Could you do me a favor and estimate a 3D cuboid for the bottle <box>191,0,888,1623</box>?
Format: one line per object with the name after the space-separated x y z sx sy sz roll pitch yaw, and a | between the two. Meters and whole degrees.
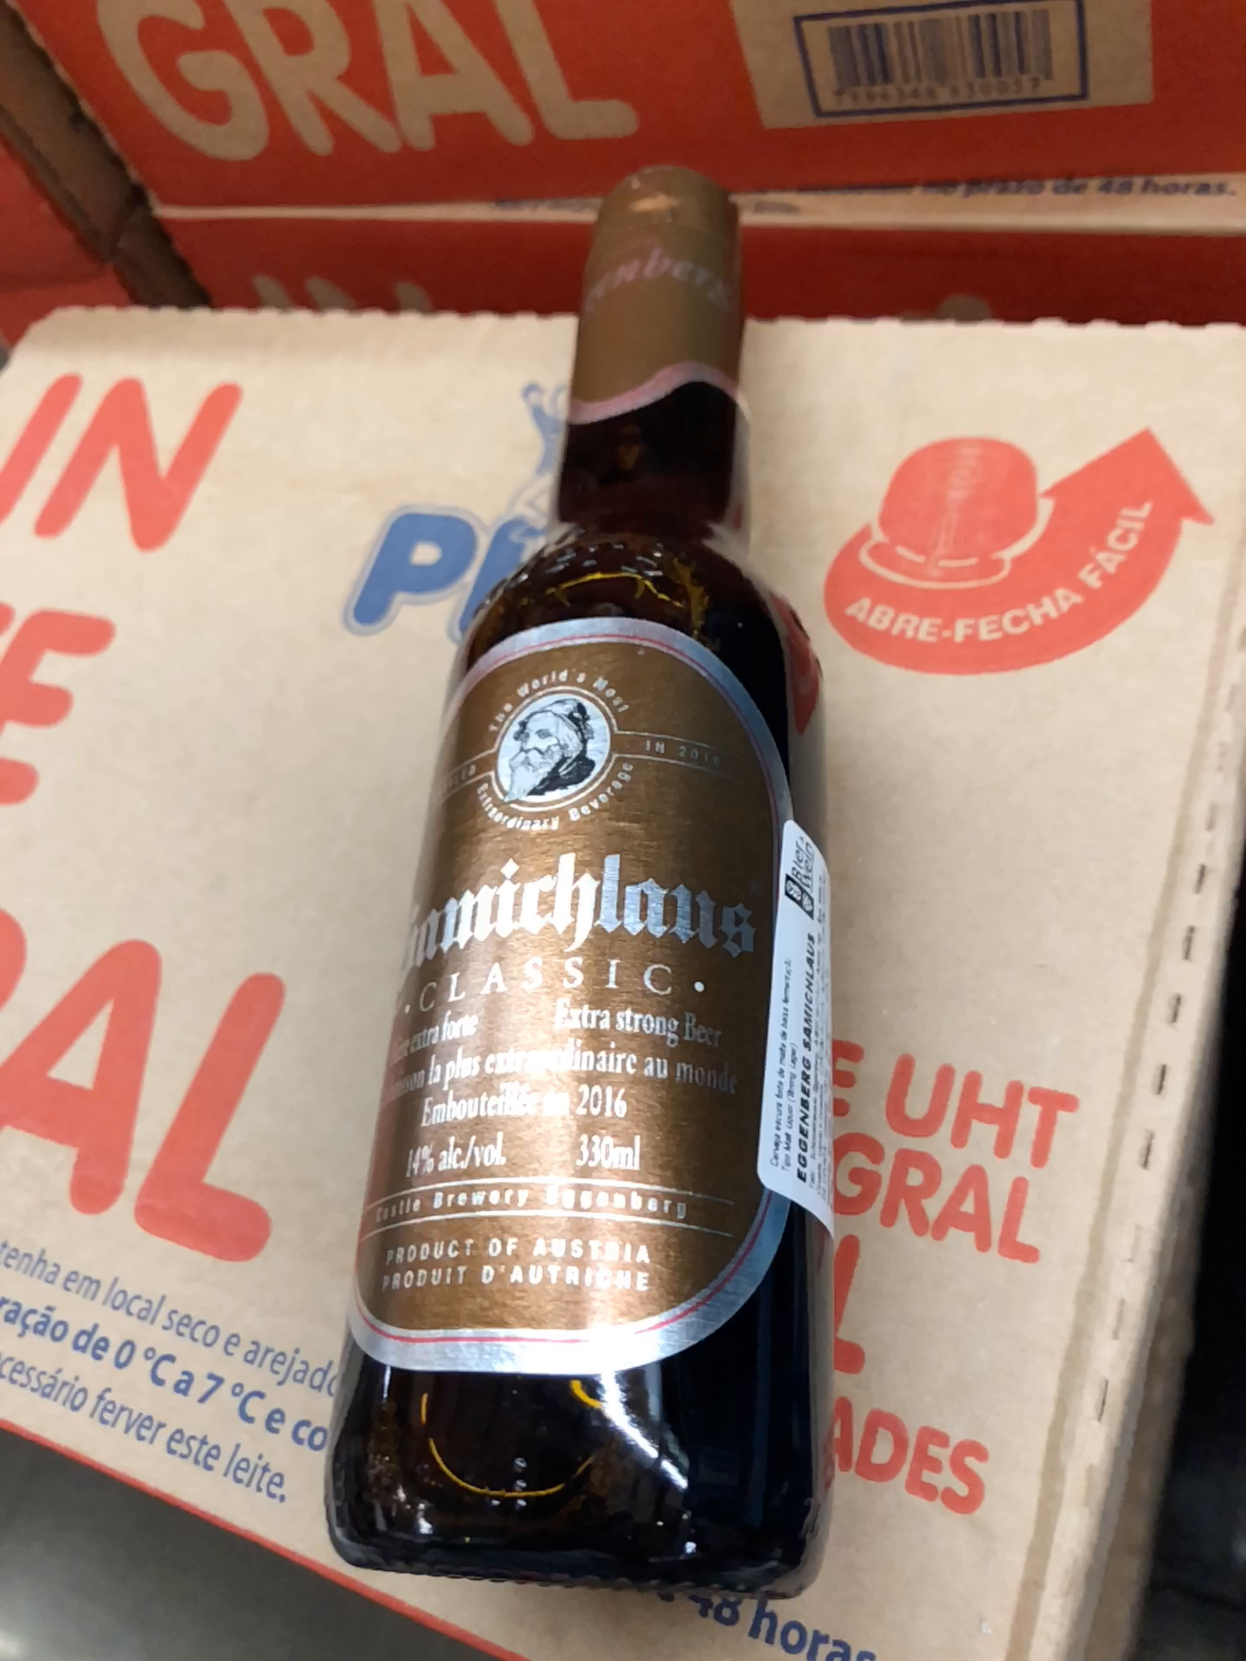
0.001 -0.028 0.208 0.060 0.050 0.251 -6 60 16 | bottle
